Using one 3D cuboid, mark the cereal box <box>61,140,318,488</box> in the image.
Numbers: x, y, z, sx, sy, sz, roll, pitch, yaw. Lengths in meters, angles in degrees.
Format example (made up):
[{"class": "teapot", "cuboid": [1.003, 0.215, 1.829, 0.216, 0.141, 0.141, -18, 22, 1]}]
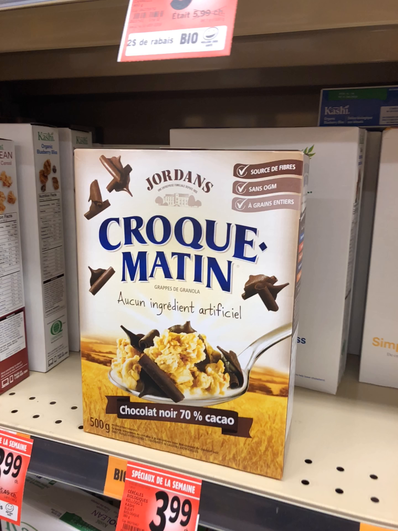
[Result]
[{"class": "cereal box", "cuboid": [-0.012, 0.029, 0.357, 0.190, 0.249, 0.050, 5, 11, 19]}]
